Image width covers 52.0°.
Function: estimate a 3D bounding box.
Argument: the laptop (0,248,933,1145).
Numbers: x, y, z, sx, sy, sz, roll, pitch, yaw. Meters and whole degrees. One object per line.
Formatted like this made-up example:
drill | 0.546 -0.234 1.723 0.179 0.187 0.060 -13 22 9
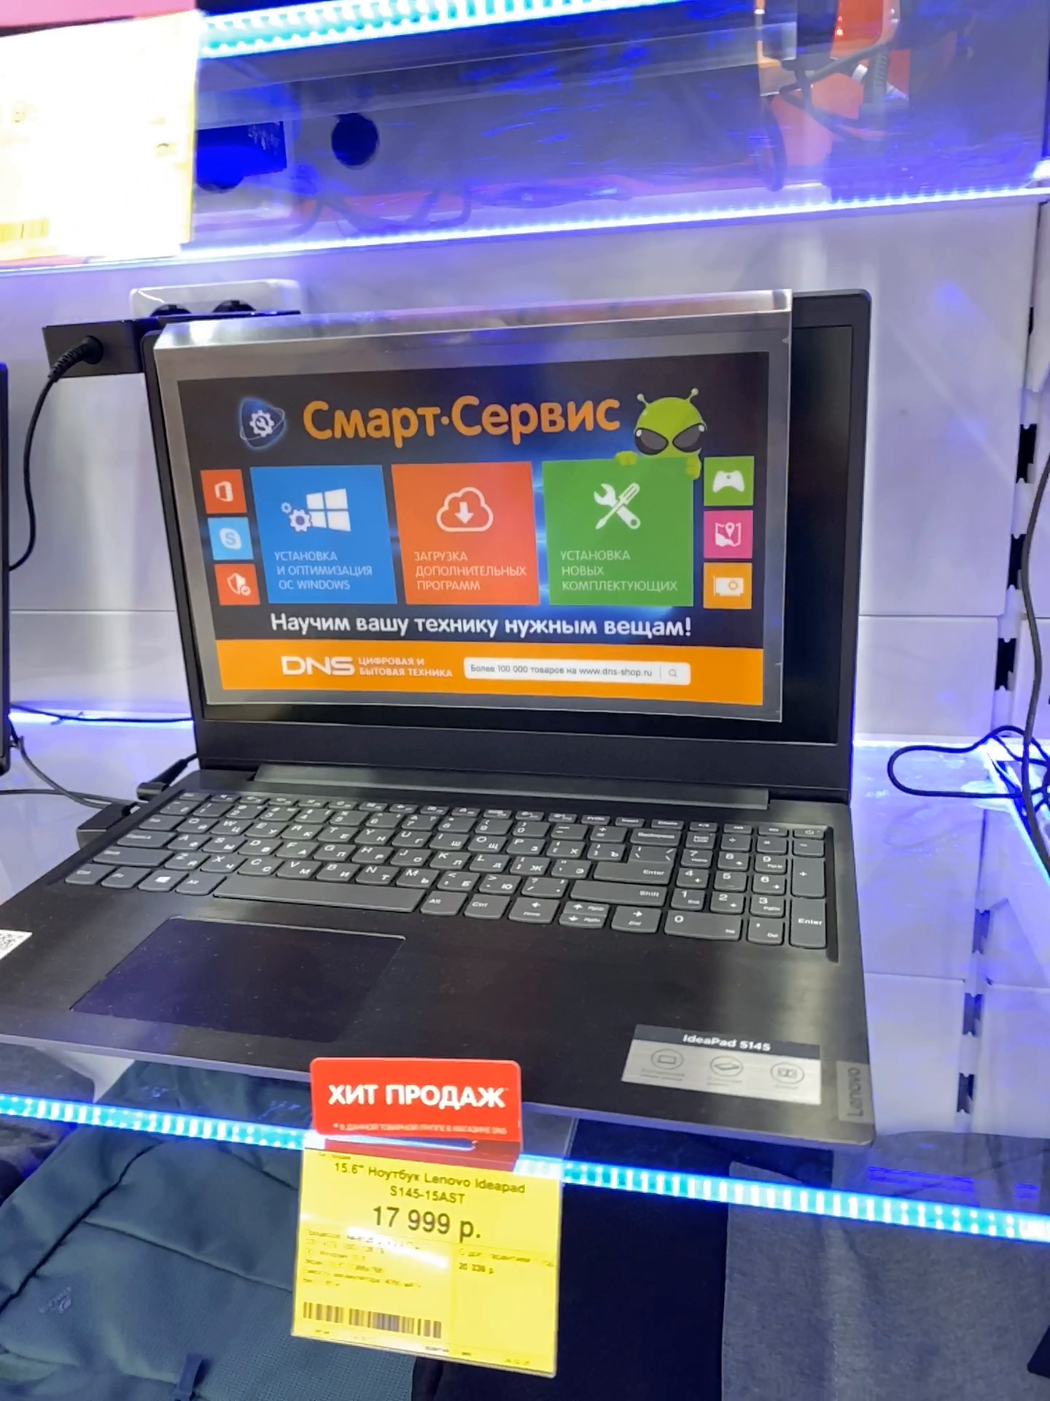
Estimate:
laptop | -0.049 -0.031 0.439 0.361 0.239 0.258 2 17 14
